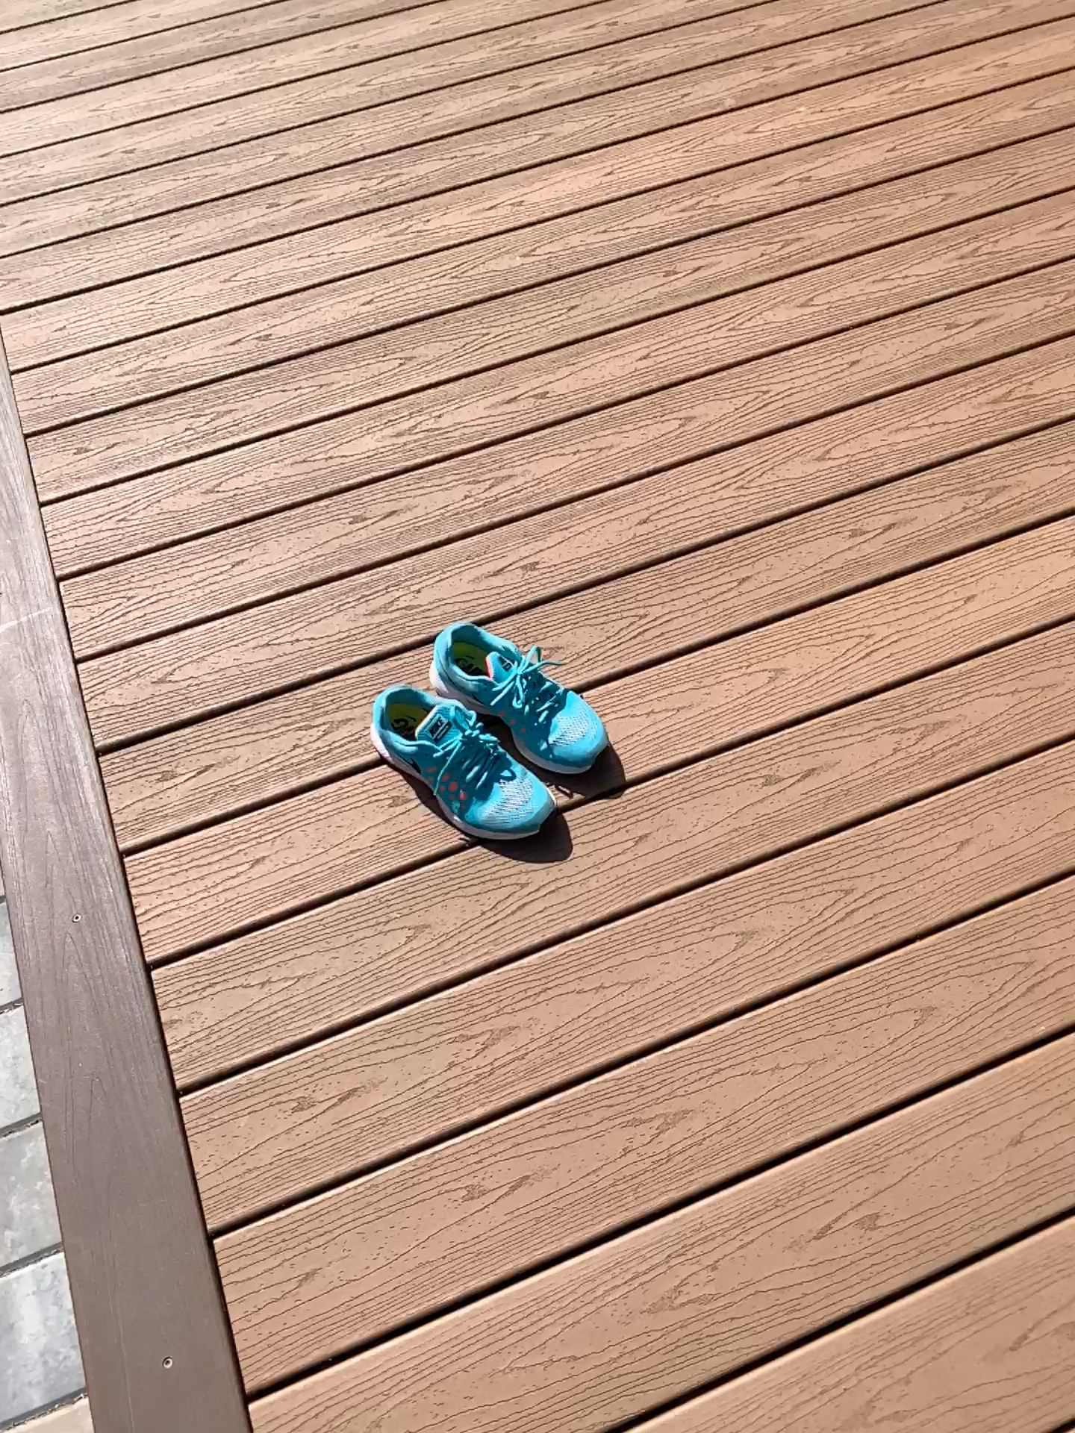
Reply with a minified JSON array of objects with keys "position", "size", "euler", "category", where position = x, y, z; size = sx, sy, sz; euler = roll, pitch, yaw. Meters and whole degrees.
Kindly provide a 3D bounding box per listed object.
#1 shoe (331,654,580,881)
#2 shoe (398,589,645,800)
[{"position":[-0.090,0.054,1.221],"size":[0.260,0.080,0.110],"euler":[33,66,19],"category":"shoe"},{"position":[-0.019,-0.028,1.258],"size":[0.260,0.080,0.110],"euler":[30,66,18],"category":"shoe"}]
